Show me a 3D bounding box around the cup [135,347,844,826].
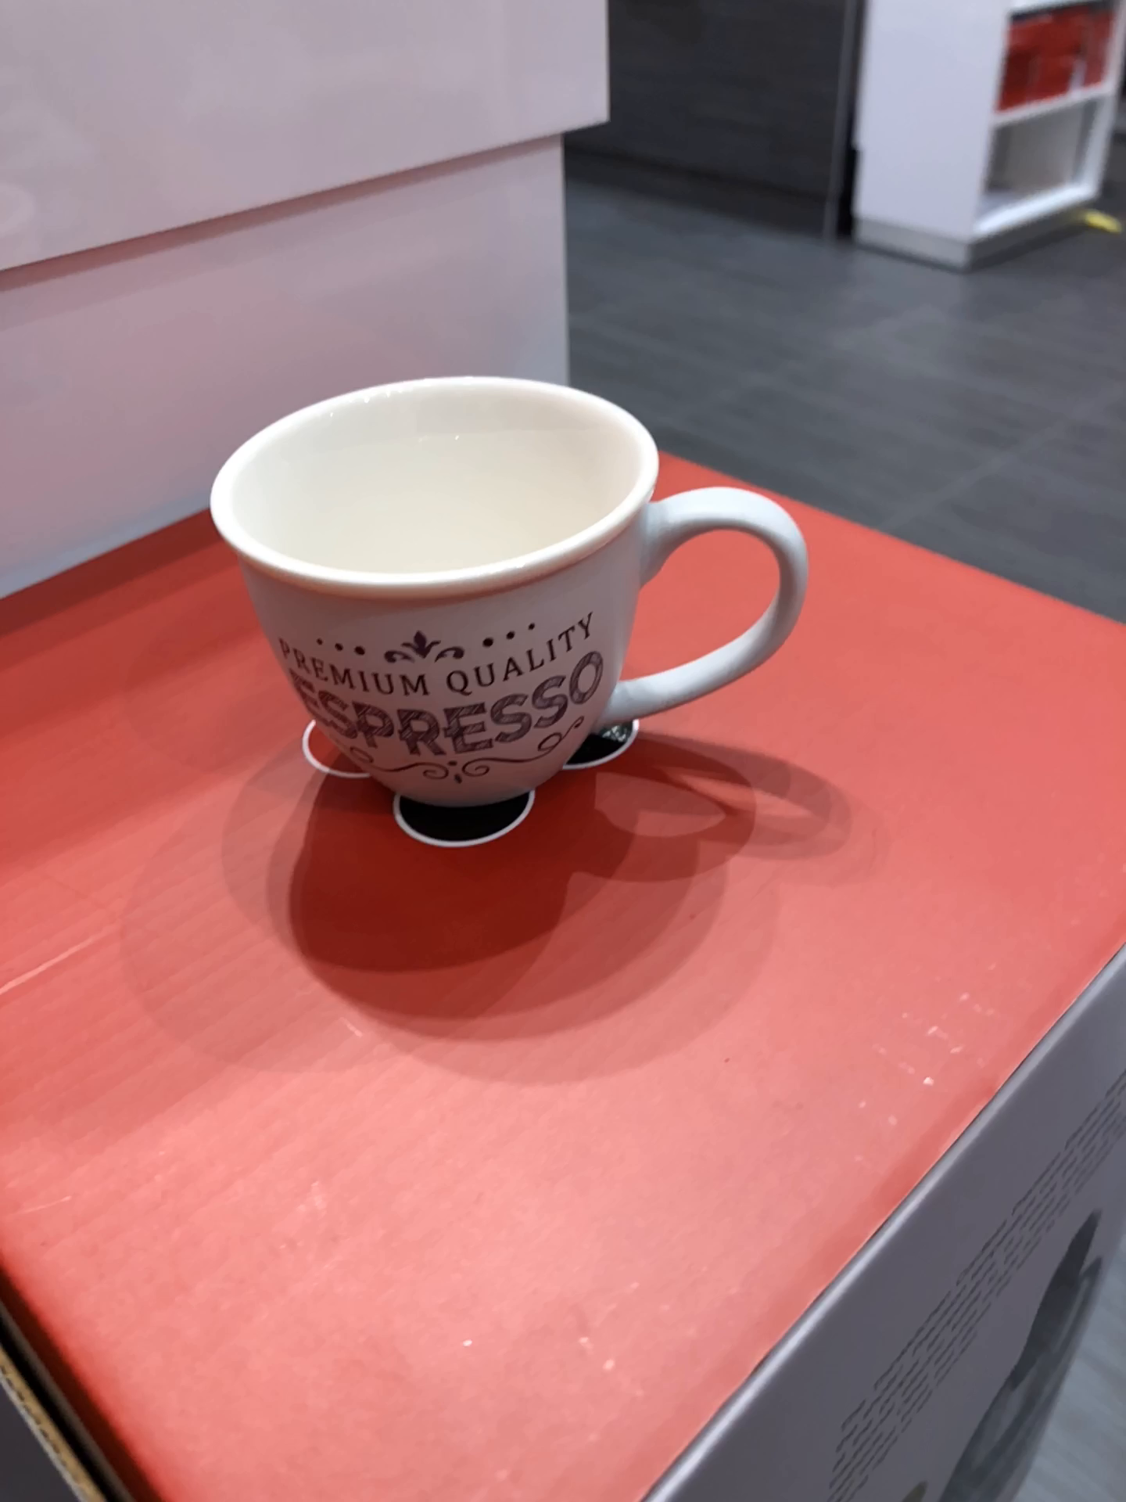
[{"bbox_3d":[-0.006,-0.031,0.204,0.090,0.040,0.080,1,37,5],"label":"cup"}]
